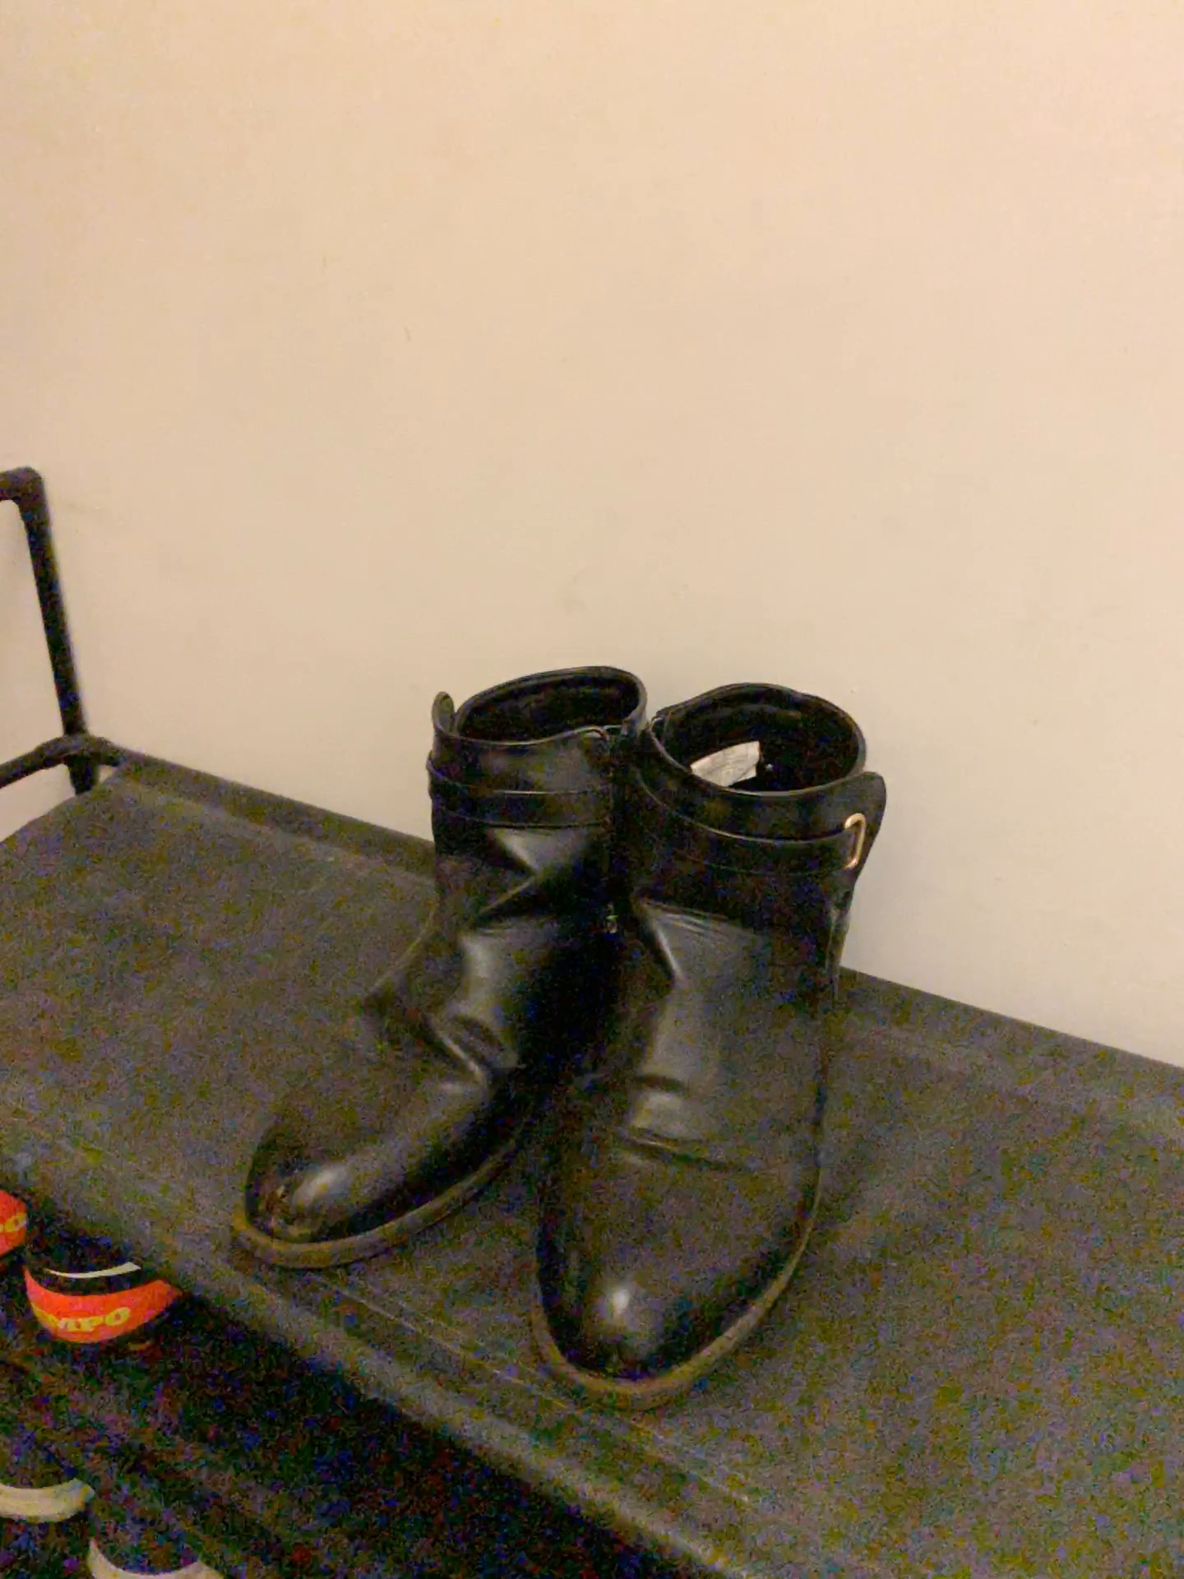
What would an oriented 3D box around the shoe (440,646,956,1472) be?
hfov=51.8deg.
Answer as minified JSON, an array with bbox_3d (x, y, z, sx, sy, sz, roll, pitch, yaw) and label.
[{"bbox_3d":[0.053,0.072,0.450,0.100,0.169,0.242,11,29,21],"label":"shoe"}]

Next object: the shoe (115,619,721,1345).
[{"bbox_3d":[-0.048,0.054,0.475,0.100,0.169,0.221,15,30,28],"label":"shoe"}]
